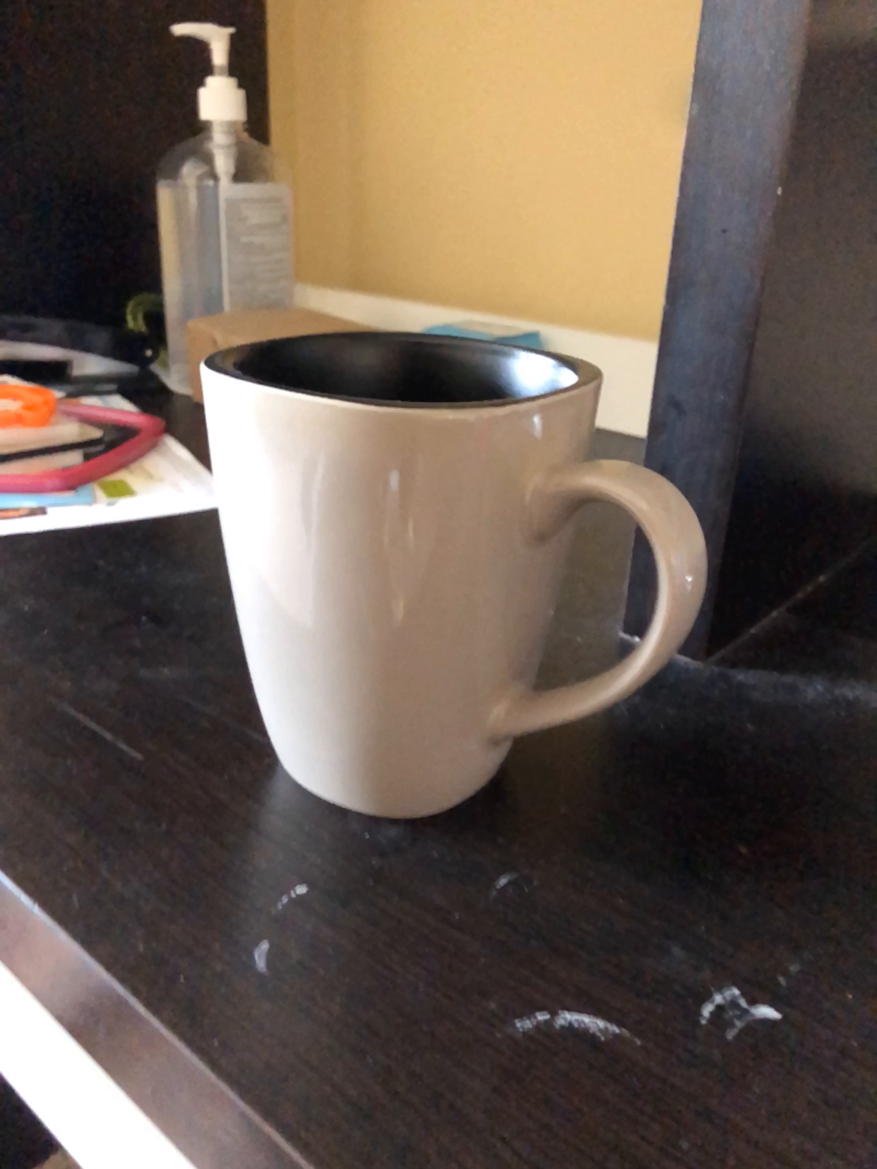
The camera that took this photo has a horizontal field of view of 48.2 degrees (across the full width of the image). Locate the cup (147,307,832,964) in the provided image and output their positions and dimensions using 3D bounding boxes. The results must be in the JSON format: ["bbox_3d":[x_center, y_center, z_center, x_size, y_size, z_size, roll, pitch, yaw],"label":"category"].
[{"bbox_3d":[0.011,-0.003,0.257,0.130,0.110,0.100,19,29,32],"label":"cup"}]
